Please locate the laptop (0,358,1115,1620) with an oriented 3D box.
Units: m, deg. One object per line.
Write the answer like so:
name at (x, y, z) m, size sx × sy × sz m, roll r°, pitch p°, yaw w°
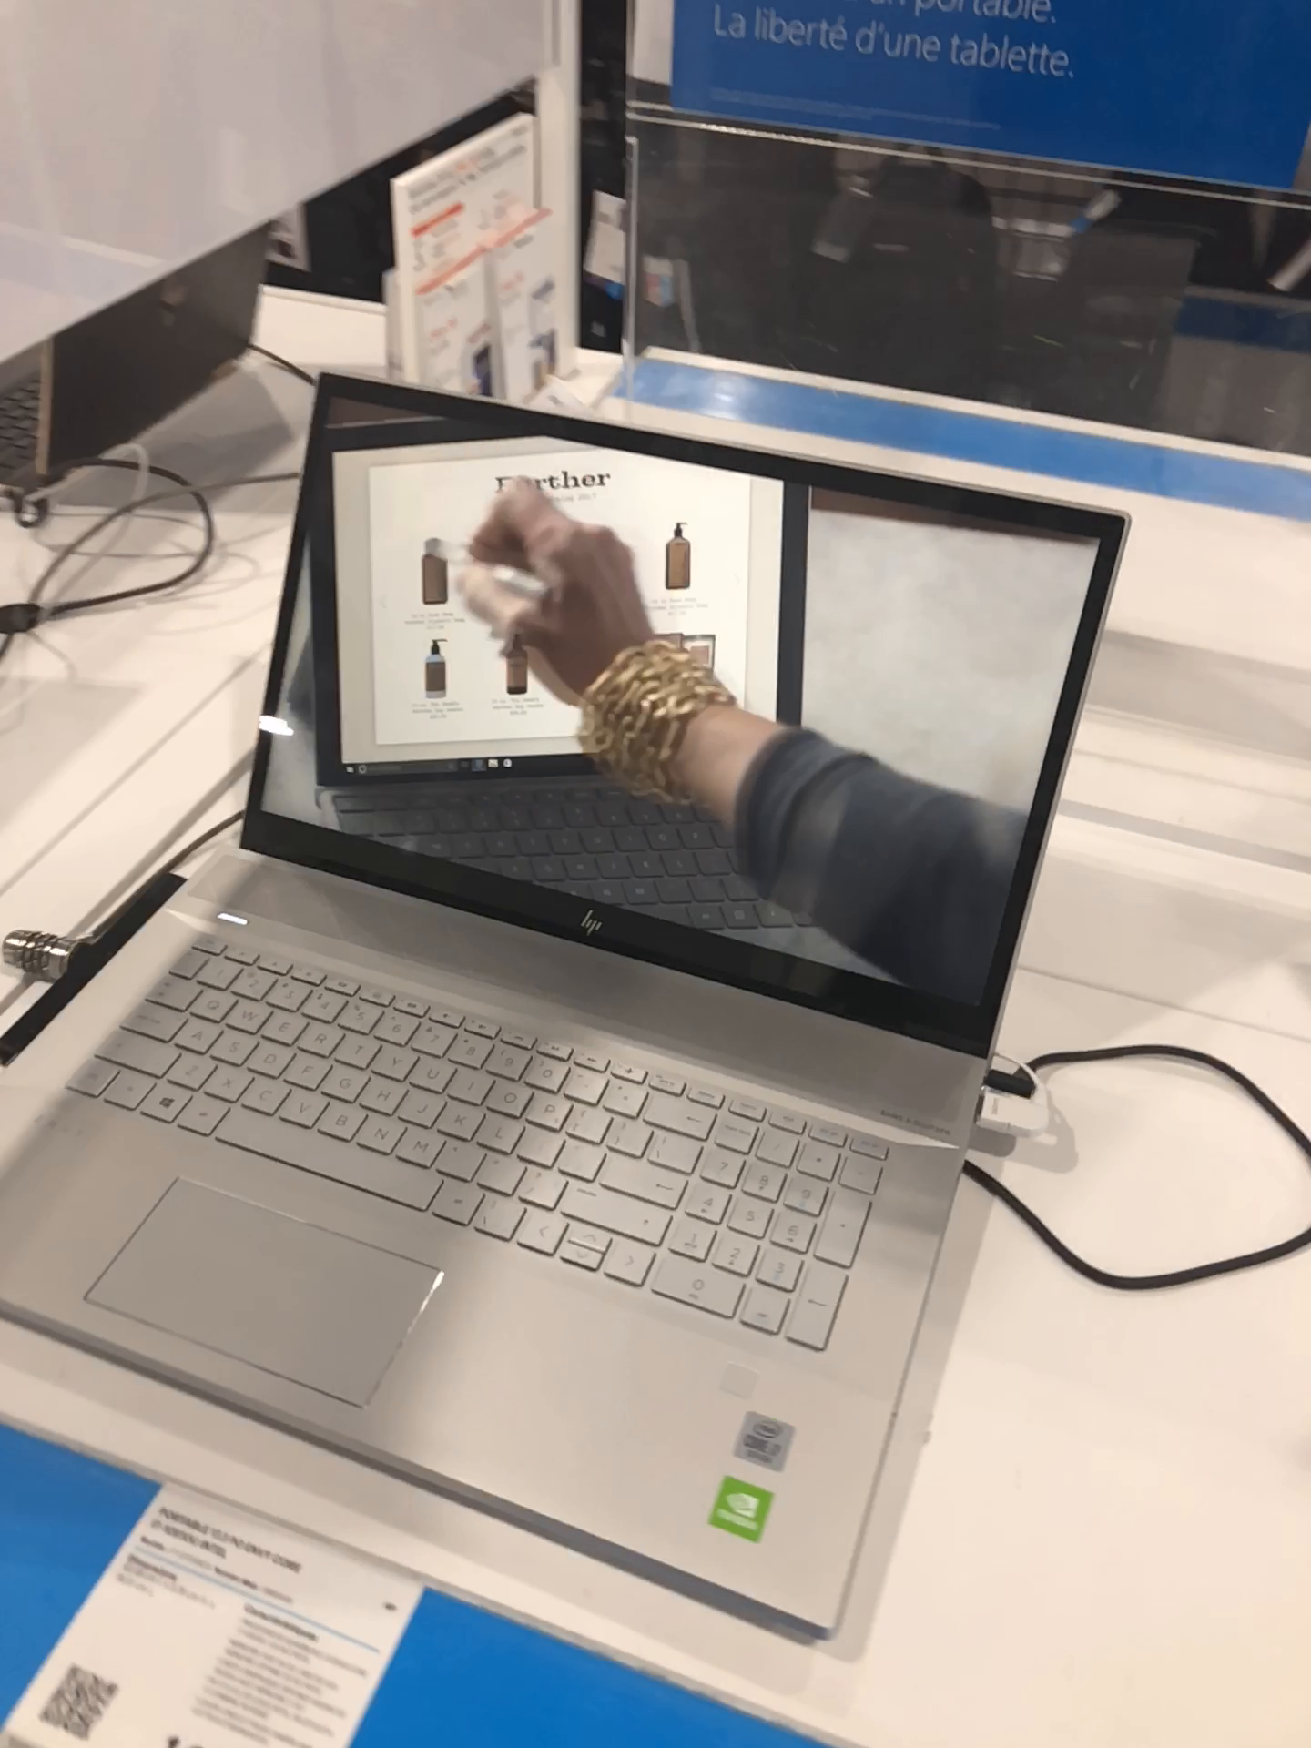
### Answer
laptop at (-0.057, -0.010, 0.589) m, size 0.391 × 0.199 × 0.399 m, roll 15°, pitch 42°, yaw 14°
